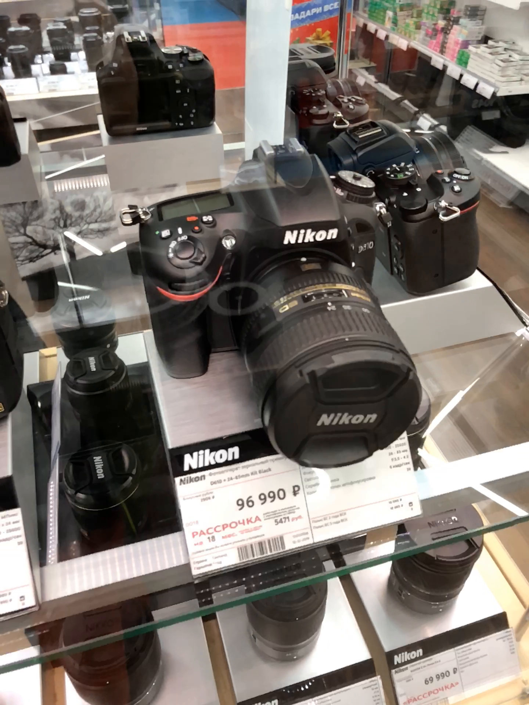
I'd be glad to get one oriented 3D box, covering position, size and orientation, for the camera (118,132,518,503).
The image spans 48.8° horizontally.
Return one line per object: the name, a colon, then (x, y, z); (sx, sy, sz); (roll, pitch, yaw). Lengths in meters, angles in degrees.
camera: (0.010, -0.028, 0.302); (0.148, 0.109, 0.151); (-6, 40, -7)
